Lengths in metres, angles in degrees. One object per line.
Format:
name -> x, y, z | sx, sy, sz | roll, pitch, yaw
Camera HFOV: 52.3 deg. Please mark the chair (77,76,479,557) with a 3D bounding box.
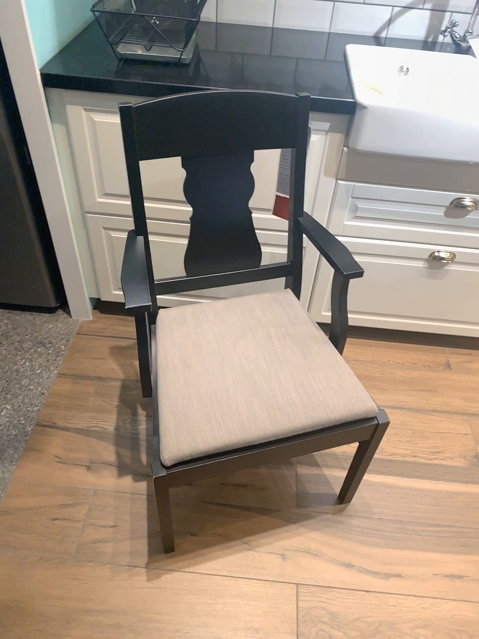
chair -> 0.010, 0.015, 1.147 | 0.570, 0.887, 0.592 | -10, 46, -14
